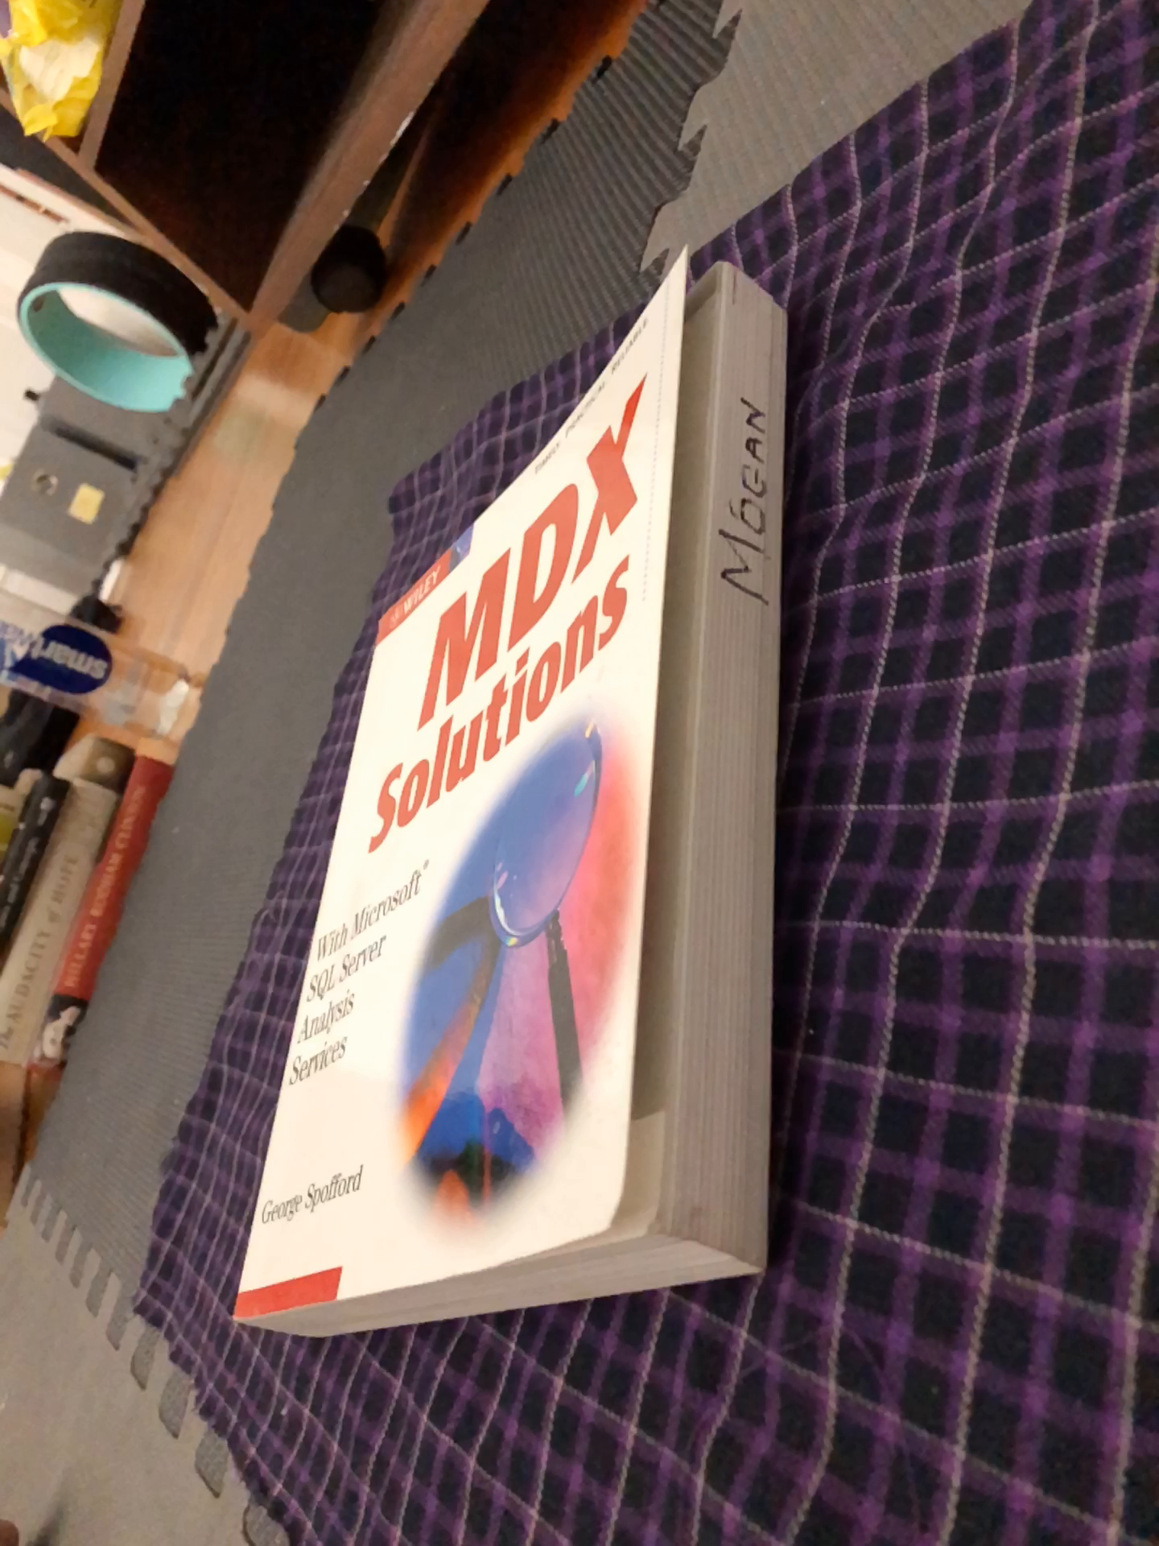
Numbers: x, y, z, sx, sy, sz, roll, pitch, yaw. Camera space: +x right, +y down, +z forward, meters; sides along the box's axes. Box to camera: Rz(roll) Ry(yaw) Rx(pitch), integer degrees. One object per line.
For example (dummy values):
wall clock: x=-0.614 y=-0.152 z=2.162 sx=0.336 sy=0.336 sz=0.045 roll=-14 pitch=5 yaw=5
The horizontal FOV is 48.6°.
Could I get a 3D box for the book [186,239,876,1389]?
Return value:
book: x=-0.016 y=0.021 z=0.360 sx=0.220 sy=0.050 sz=0.261 roll=-36 pitch=38 yaw=48
